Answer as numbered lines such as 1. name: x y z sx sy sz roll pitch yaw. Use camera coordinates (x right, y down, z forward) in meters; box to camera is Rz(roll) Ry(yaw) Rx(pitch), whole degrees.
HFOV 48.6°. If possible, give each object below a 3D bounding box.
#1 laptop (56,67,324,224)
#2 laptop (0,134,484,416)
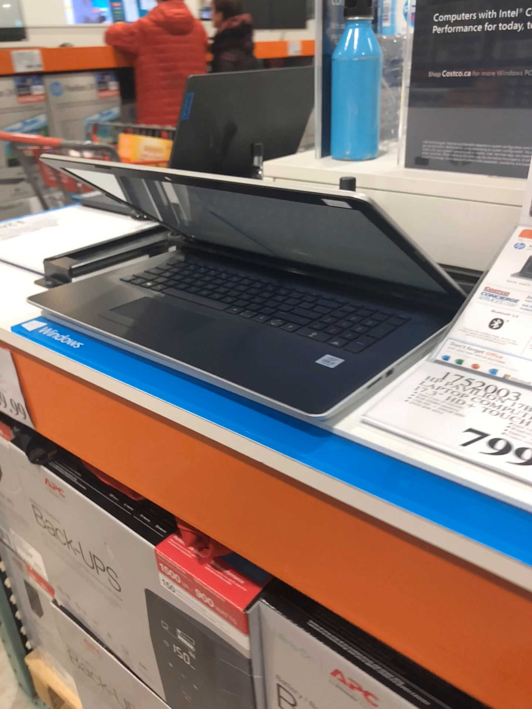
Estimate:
1. laptop: -0.126 -0.410 1.097 0.331 0.212 0.340 19 33 35
2. laptop: -0.038 -0.122 0.593 0.407 0.150 0.258 19 33 37
